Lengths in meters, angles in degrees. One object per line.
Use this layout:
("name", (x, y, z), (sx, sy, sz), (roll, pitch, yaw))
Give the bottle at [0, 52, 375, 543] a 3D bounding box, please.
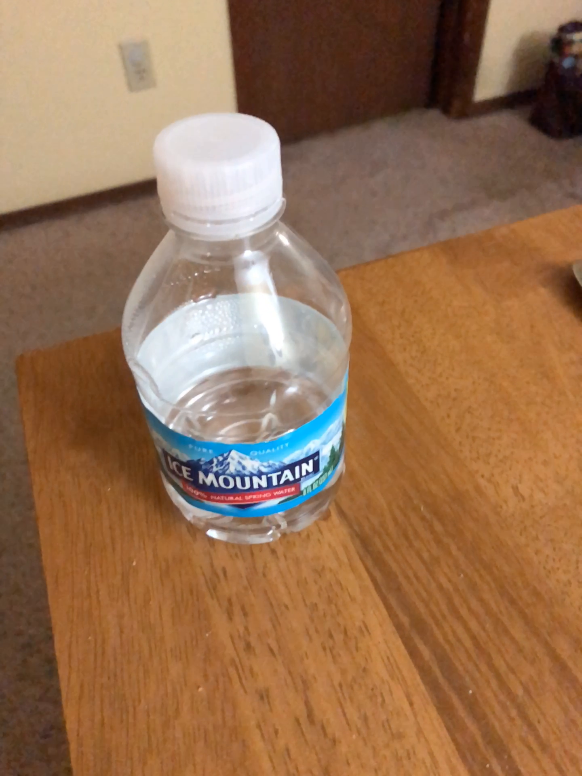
("bottle", (-0.016, -0.019, 0.177), (0.070, 0.110, 0.070), (-2, 47, 2))
